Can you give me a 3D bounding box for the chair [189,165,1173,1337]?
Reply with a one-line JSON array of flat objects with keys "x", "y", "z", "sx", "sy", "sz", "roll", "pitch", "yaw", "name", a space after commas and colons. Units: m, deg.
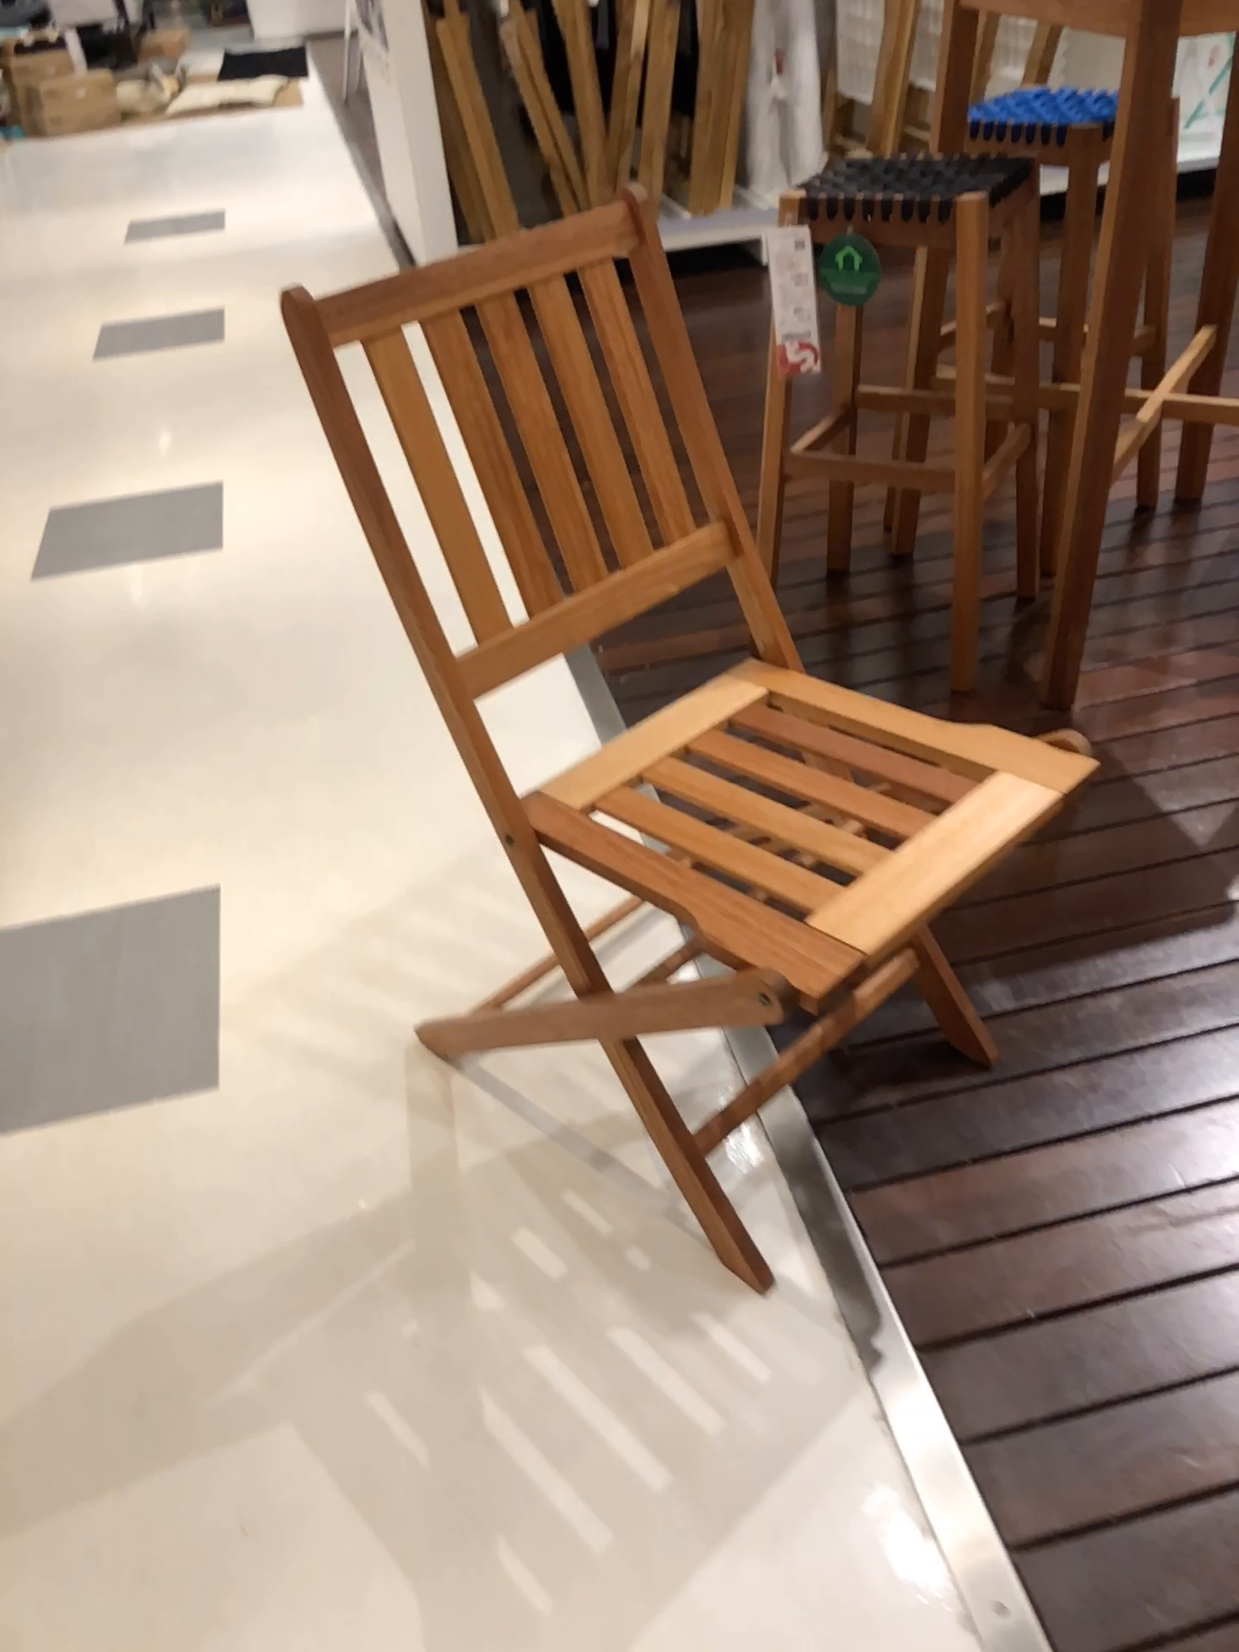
[{"x": 0.071, "y": -0.102, "z": 1.331, "sx": 0.602, "sy": 0.863, "sz": 0.502, "roll": 27, "pitch": 47, "yaw": 37, "name": "chair"}]
